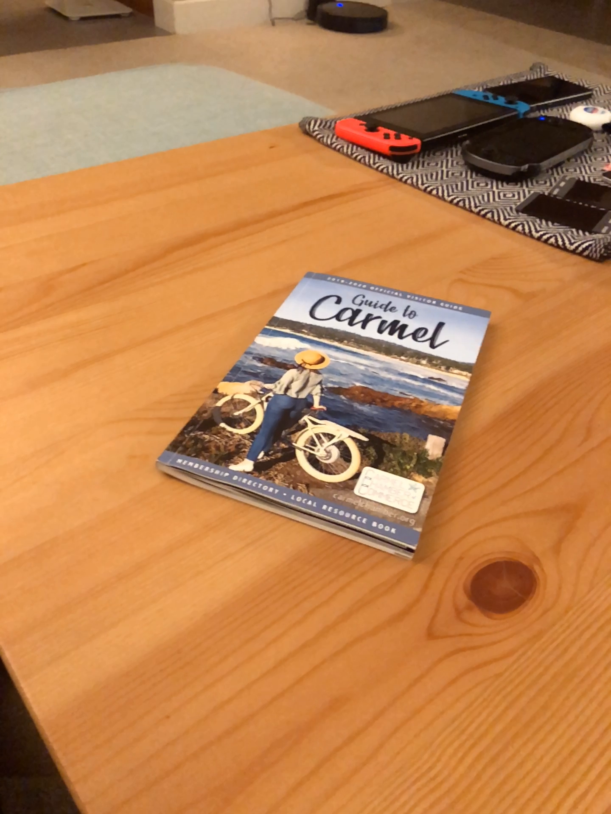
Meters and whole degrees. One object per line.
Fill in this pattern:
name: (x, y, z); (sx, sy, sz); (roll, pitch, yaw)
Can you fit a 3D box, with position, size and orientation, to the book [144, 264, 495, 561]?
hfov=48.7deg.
book: (0.023, -0.016, 0.389); (0.137, 0.010, 0.208); (16, 43, 14)
